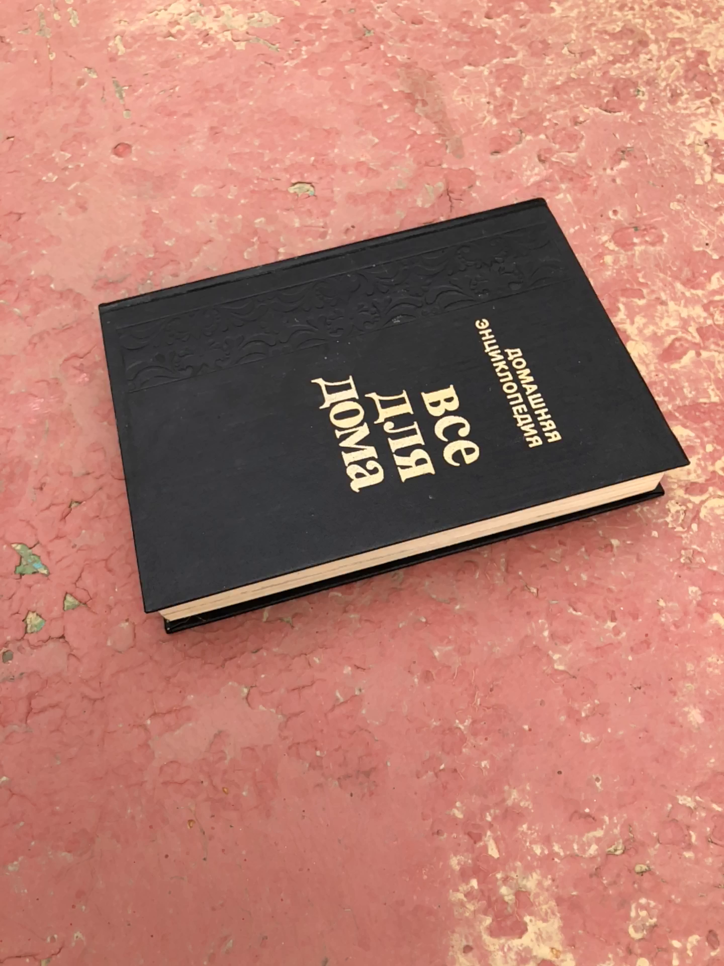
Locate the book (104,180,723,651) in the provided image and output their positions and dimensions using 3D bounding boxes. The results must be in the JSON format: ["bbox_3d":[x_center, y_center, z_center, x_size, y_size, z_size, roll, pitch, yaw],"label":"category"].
[{"bbox_3d":[0.013,-0.035,0.330,0.210,0.040,0.150,-14,63,-5],"label":"book"}]
